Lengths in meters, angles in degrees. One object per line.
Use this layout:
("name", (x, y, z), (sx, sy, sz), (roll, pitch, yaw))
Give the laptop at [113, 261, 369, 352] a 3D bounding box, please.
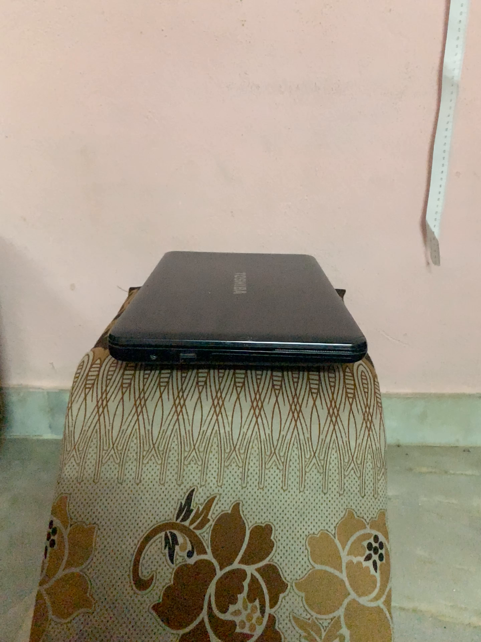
("laptop", (-0.003, -0.034, 0.604), (0.222, 0.001, 0.371), (1, 19, -1))
